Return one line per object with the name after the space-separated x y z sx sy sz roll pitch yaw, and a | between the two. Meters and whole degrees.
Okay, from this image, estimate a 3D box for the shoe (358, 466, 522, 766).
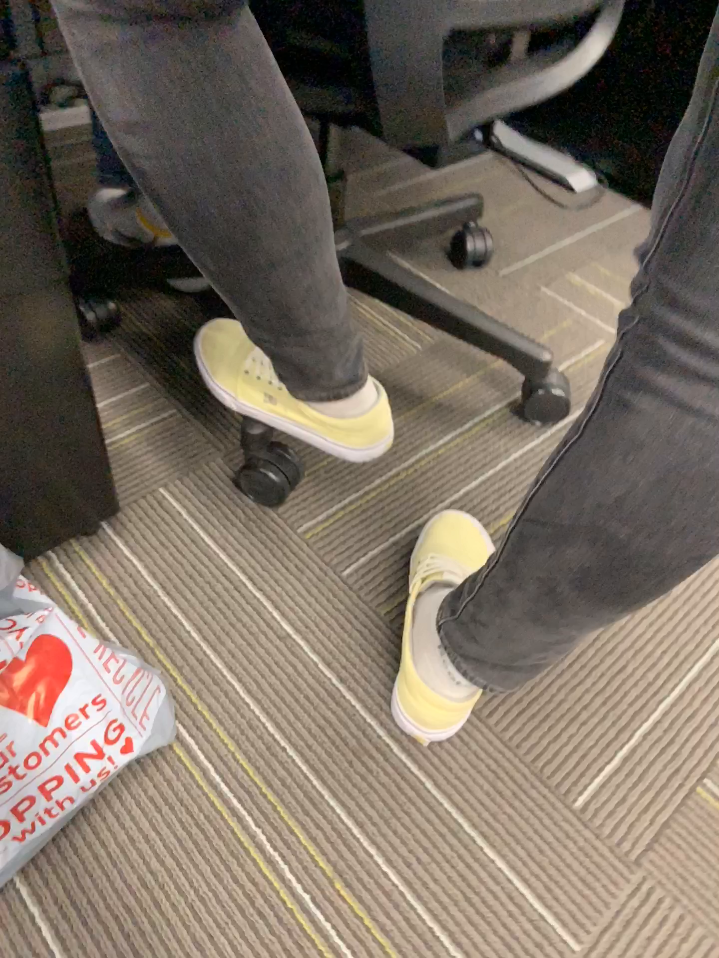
0.087 0.127 0.749 0.102 0.101 0.270 15 48 6 | shoe

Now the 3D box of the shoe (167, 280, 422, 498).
-0.074 -0.103 0.801 0.260 0.096 0.099 31 51 20 | shoe
